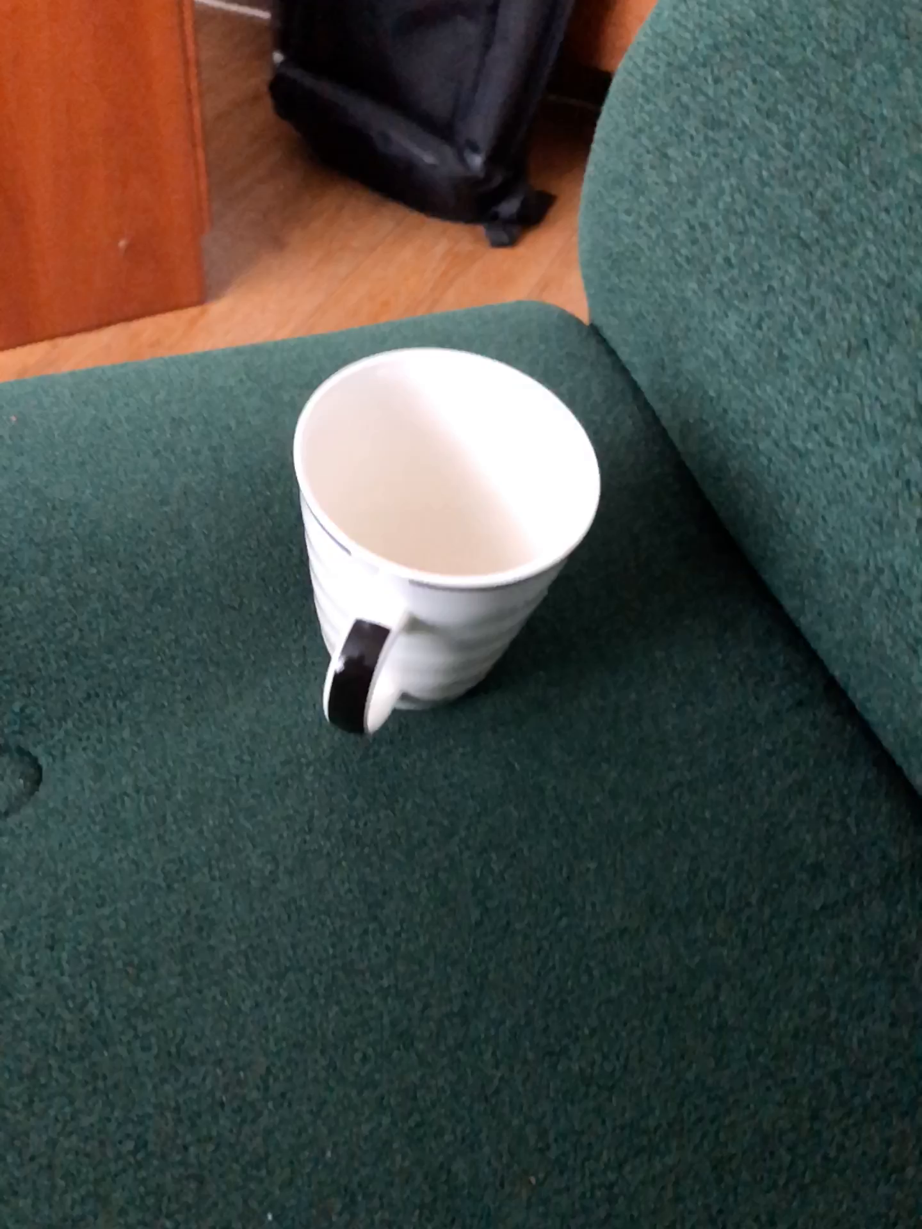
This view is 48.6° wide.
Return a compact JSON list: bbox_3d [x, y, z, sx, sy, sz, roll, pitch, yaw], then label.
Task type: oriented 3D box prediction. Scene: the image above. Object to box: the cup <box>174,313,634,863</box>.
[{"bbox_3d":[-0.014,-0.009,0.325,0.095,0.095,0.121,18,53,5],"label":"cup"}]
